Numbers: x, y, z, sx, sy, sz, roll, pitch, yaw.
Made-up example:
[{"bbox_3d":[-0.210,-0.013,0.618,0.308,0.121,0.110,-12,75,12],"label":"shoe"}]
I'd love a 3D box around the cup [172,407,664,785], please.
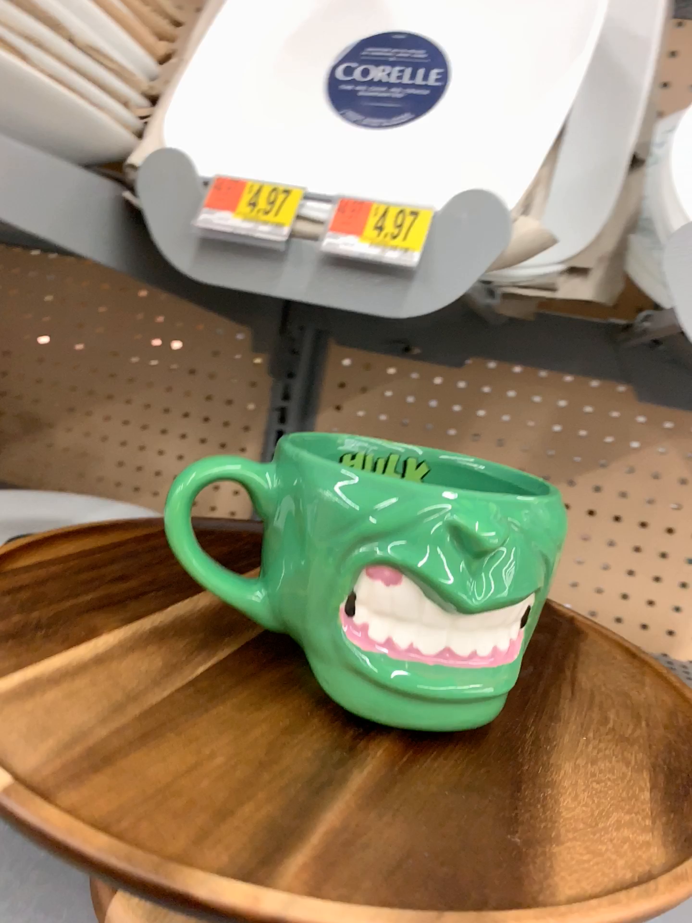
[{"bbox_3d":[0.011,0.043,0.279,0.140,0.090,0.130,10,9,-2],"label":"cup"}]
